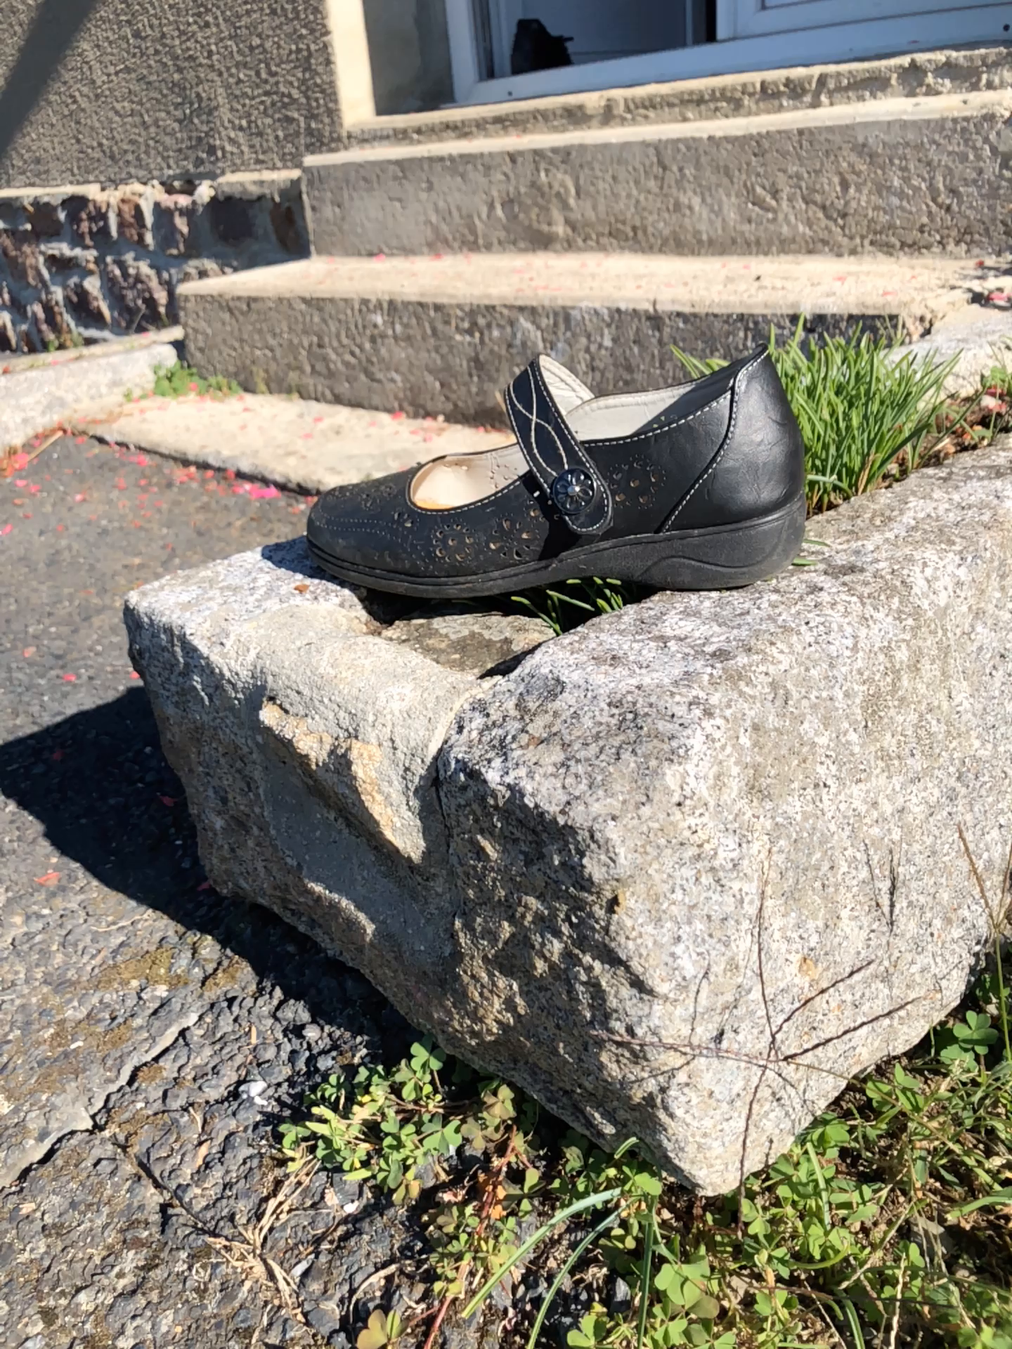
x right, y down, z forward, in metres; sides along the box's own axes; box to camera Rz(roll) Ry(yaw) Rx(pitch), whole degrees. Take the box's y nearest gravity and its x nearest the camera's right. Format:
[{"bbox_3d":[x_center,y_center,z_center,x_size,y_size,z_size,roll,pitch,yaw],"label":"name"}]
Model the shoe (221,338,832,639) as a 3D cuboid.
[{"bbox_3d":[0.013,-0.090,0.510,0.250,0.099,0.101,5,27,21],"label":"shoe"}]
